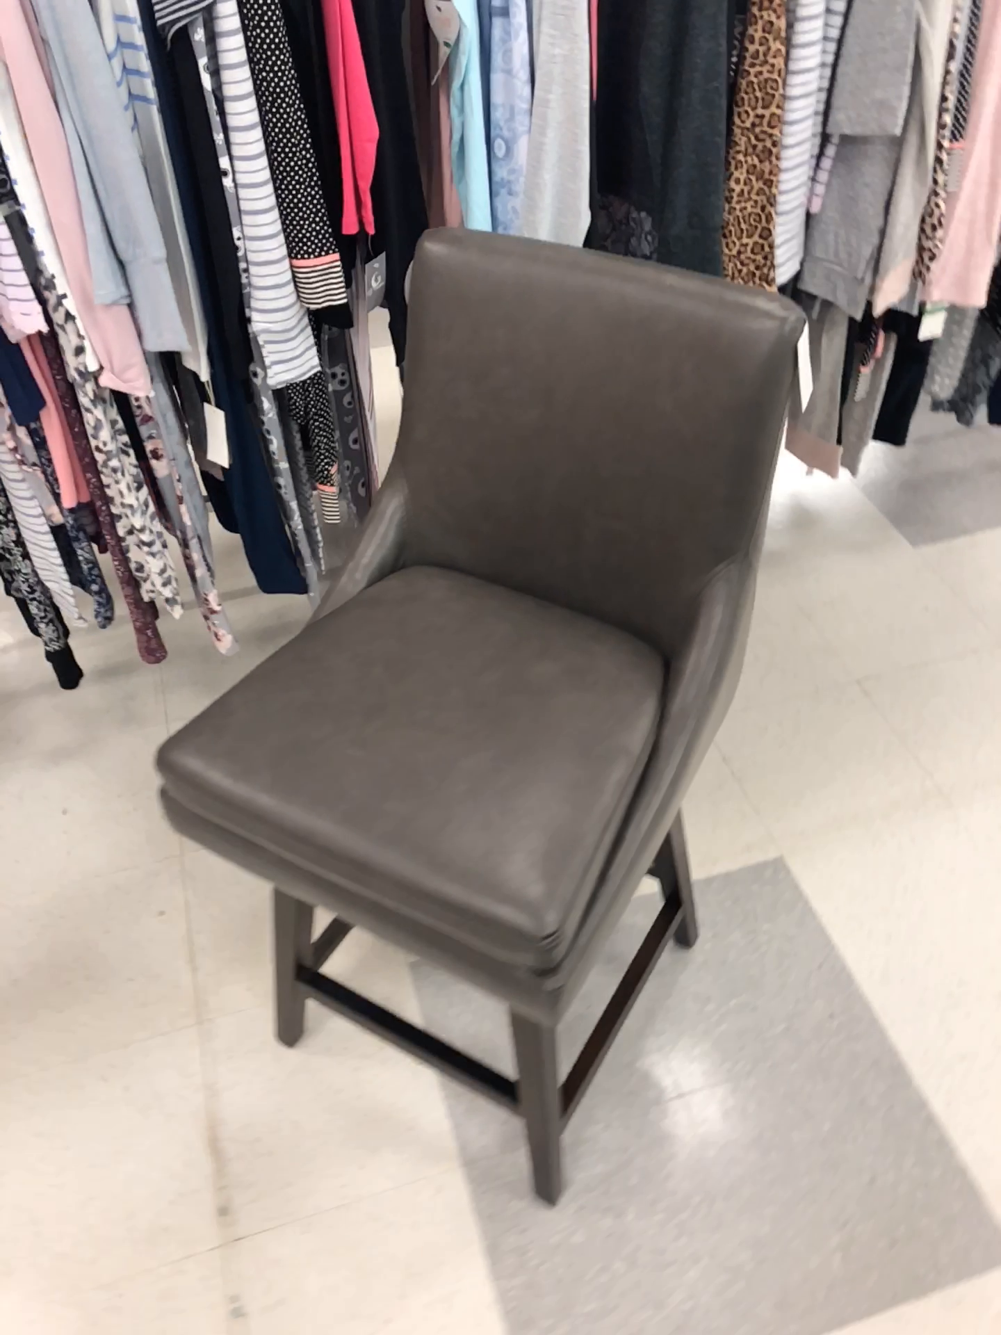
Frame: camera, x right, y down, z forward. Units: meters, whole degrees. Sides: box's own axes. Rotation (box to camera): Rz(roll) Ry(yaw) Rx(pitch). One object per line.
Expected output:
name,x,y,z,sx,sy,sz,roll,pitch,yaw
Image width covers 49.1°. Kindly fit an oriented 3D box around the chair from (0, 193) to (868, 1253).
chair,-0.016,0.086,1.213,0.492,0.918,0.581,21,49,22
